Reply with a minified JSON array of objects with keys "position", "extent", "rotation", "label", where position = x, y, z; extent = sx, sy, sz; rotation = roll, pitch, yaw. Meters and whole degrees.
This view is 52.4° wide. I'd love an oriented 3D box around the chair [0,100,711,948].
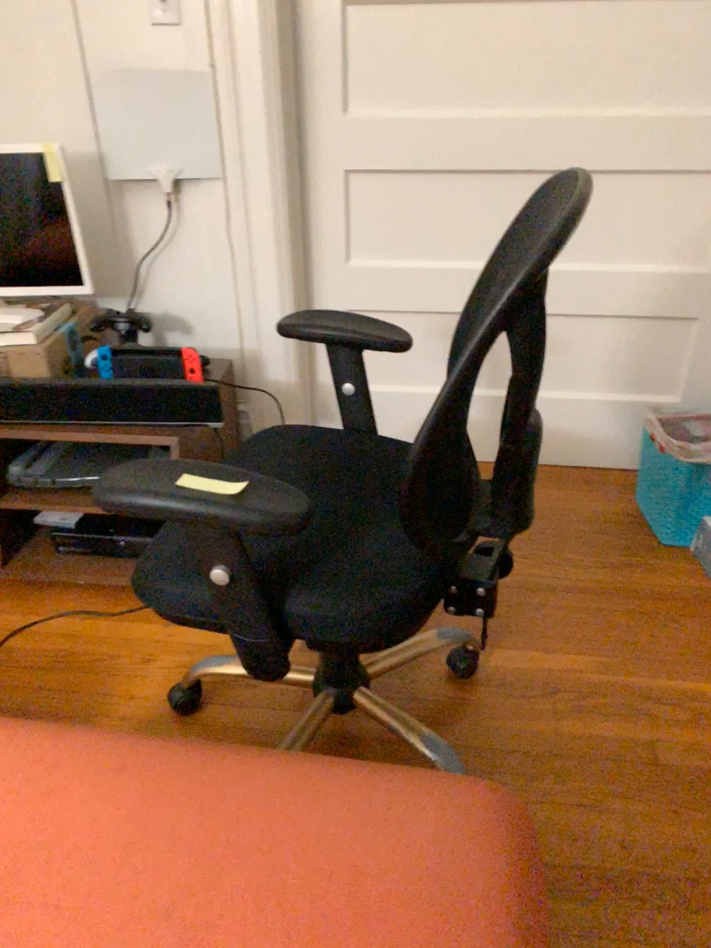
[{"position":[0.013,0.027,1.106],"extent":[0.661,0.974,0.643],"rotation":[13,33,13],"label":"chair"}]
